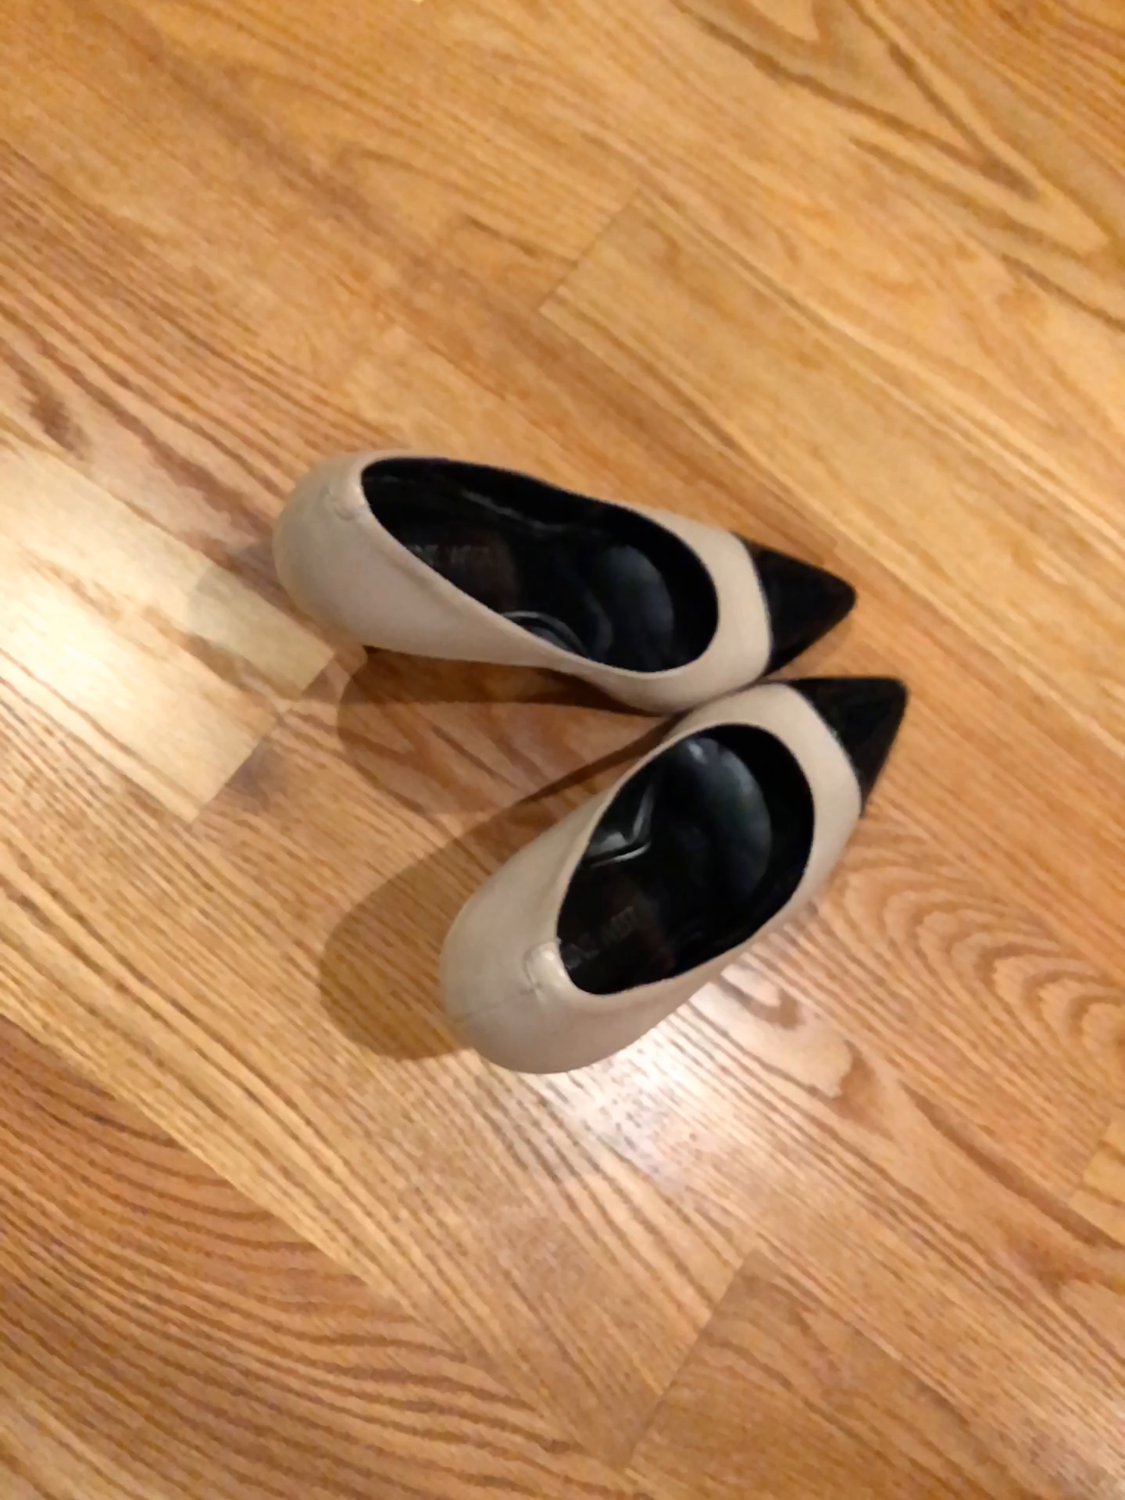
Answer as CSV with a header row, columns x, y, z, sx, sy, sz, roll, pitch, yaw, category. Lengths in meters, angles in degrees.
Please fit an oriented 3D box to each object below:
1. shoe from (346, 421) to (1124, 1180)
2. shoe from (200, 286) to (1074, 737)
x,y,z,sx,sy,sz,roll,pitch,yaw,category
0.058,0.017,0.392,0.235,0.139,0.085,-34,86,-18,shoe
0.012,-0.070,0.404,0.235,0.139,0.085,-4,78,-13,shoe
